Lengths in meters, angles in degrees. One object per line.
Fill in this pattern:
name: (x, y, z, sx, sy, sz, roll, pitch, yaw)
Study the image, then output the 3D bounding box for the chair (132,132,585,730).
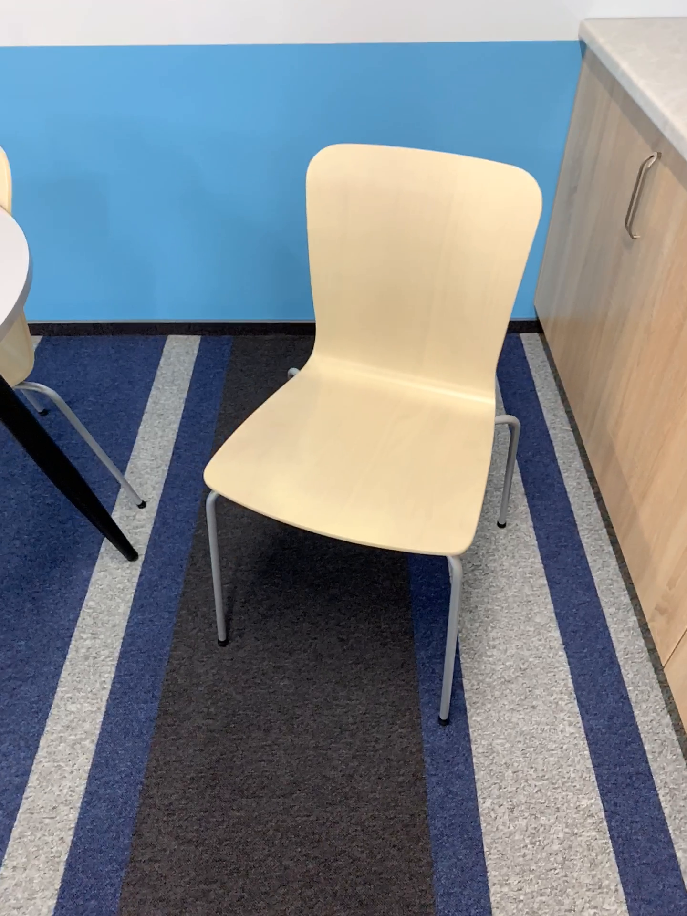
chair: (0.069, -0.040, 1.287, 0.476, 0.835, 0.573, 14, 45, 16)
